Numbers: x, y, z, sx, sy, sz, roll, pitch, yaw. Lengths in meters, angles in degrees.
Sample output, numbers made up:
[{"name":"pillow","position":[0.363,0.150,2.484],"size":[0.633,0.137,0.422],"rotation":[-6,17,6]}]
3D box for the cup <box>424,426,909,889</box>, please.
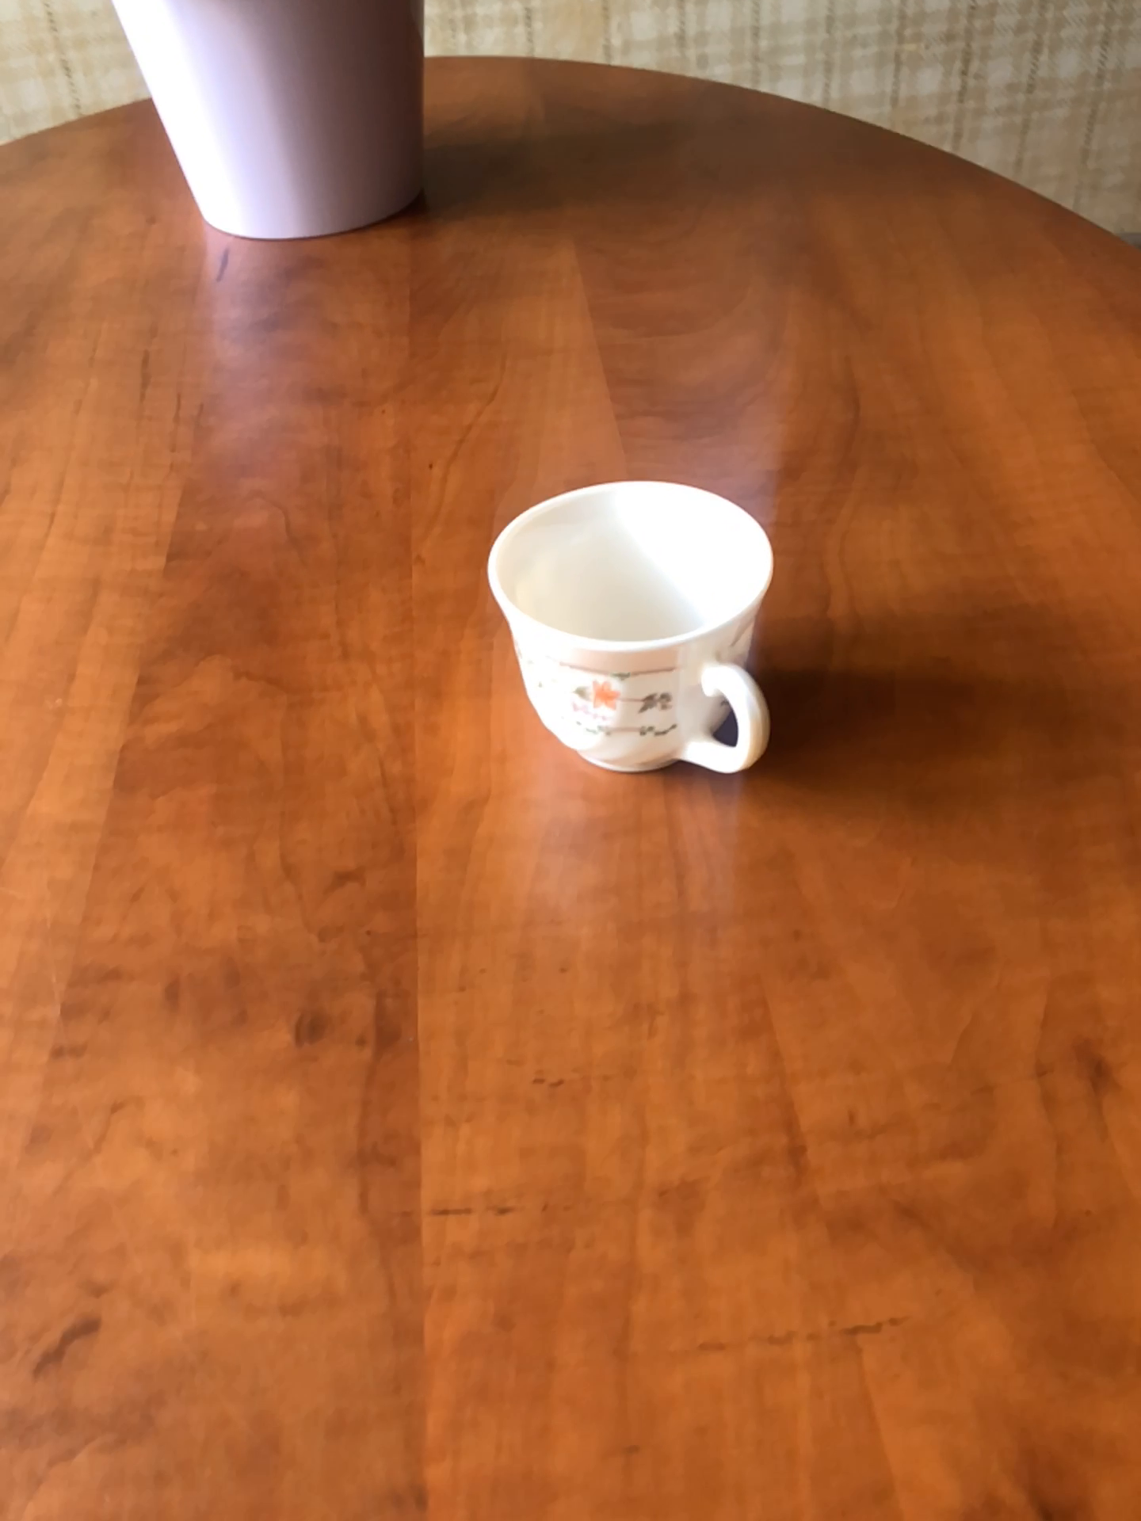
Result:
[{"name":"cup","position":[0.019,-0.027,0.280],"size":[0.063,0.048,0.084],"rotation":[-28,48,-24]}]
